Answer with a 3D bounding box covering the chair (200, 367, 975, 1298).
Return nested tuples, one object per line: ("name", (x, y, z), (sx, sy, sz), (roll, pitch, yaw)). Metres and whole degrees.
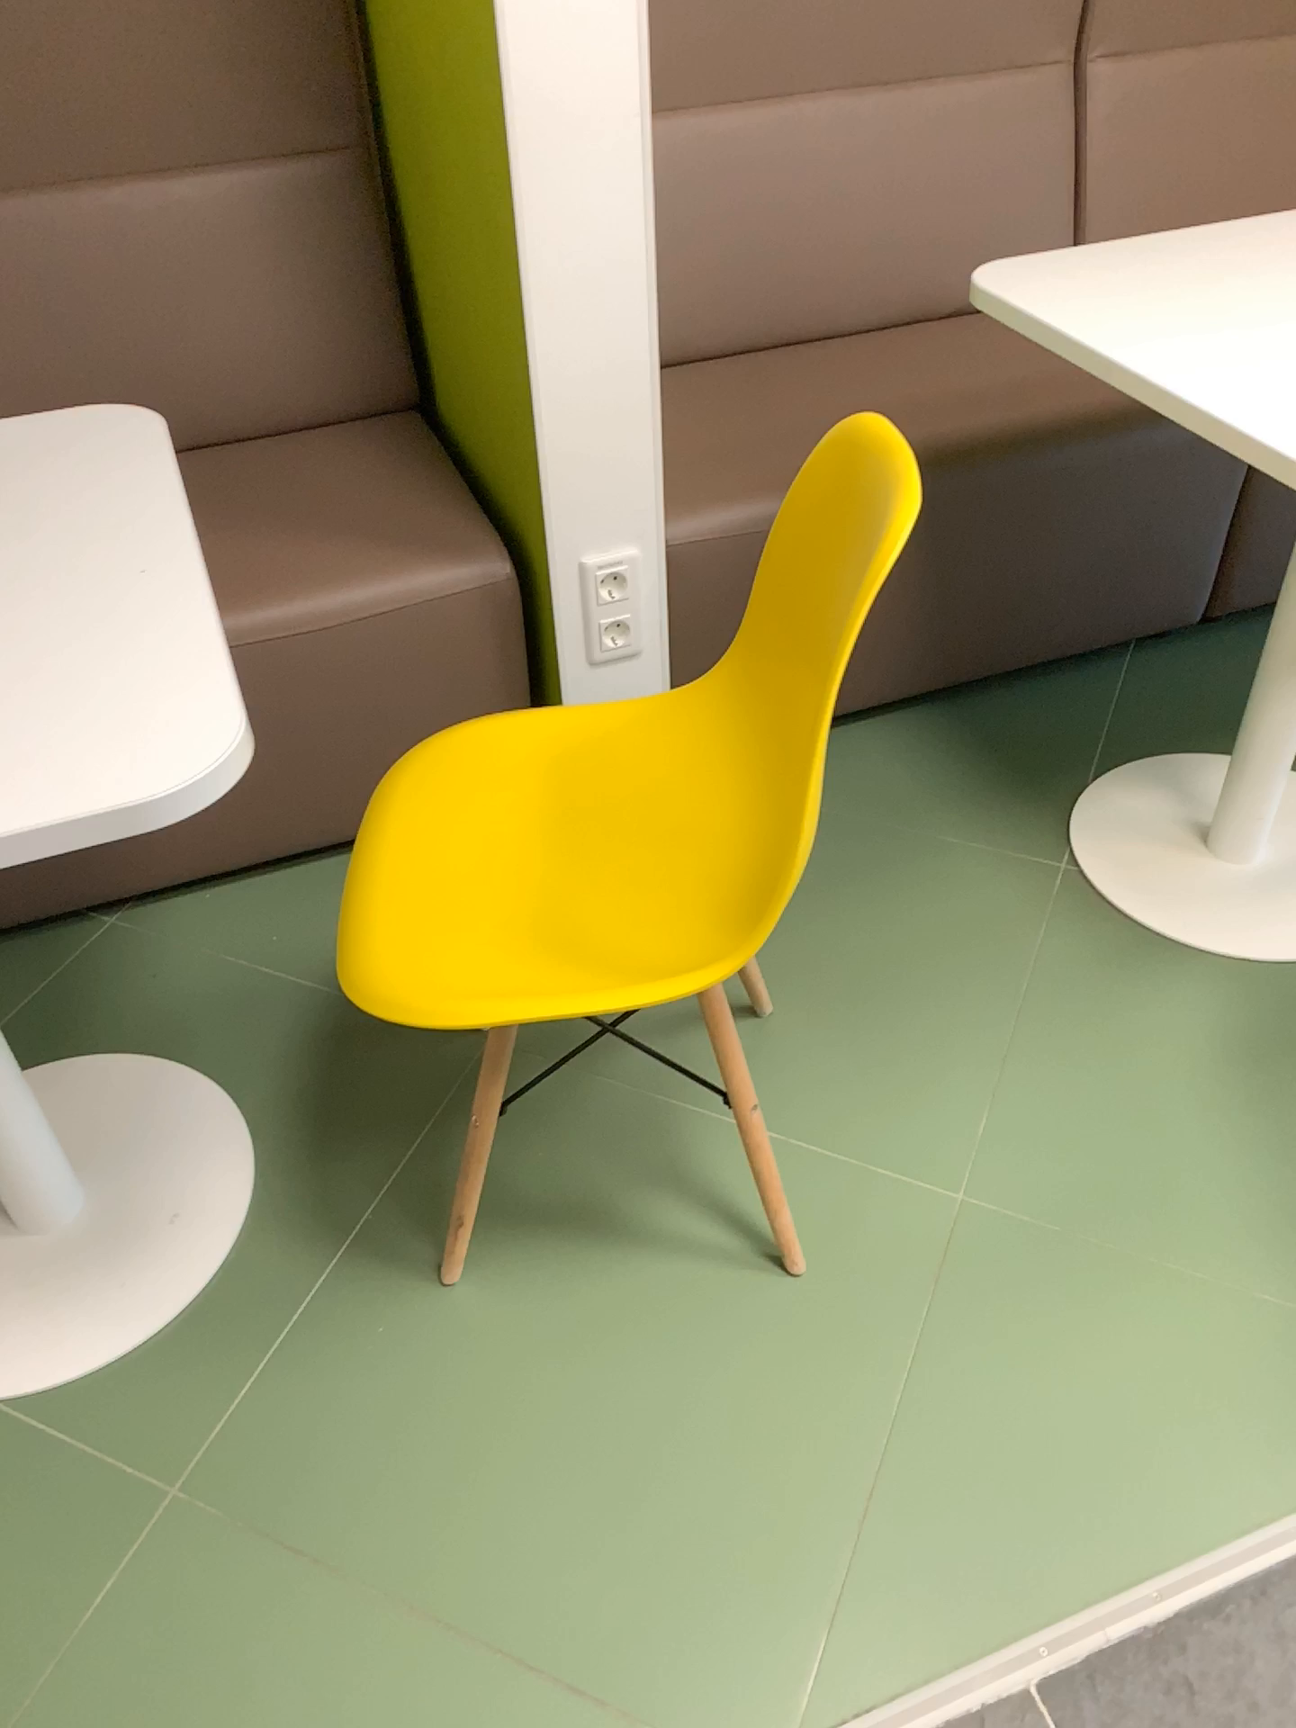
("chair", (-0.036, 0.004, 1.307), (0.520, 0.815, 0.412), (-3, 40, -1))
